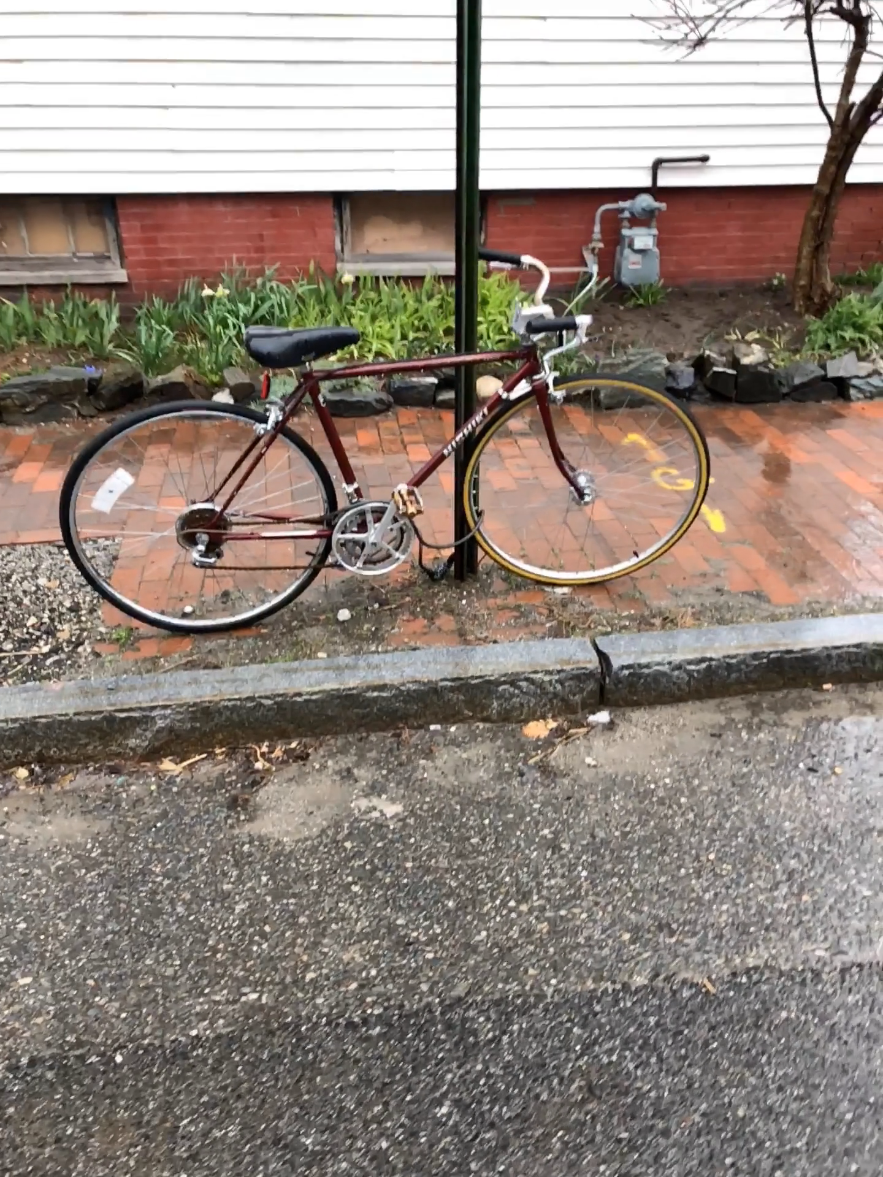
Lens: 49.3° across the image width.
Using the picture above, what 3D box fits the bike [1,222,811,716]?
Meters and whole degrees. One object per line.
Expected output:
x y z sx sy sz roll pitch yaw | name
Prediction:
-0.077 -0.316 2.319 1.606 0.907 0.502 -6 29 -8 | bike
